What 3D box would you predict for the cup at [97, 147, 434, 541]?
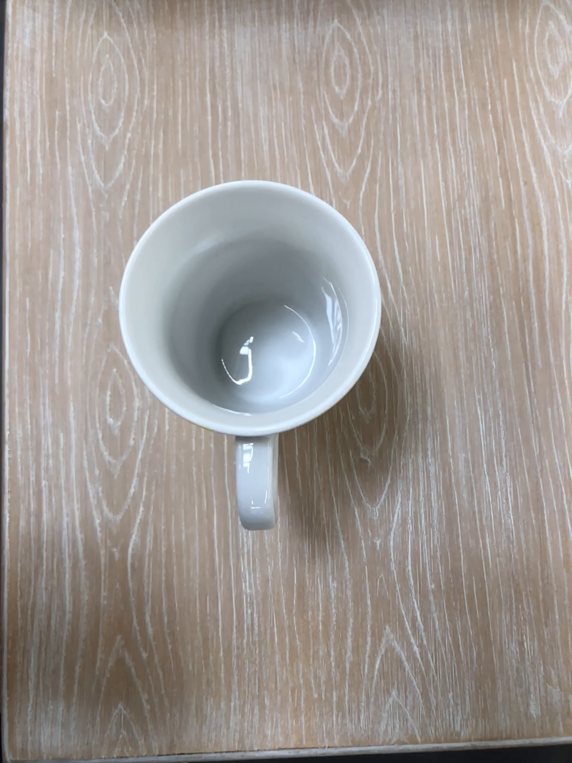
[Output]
[{"bbox_3d":[-0.008,-0.009,0.260,0.102,0.091,0.125,-6,82,0],"label":"cup"}]
